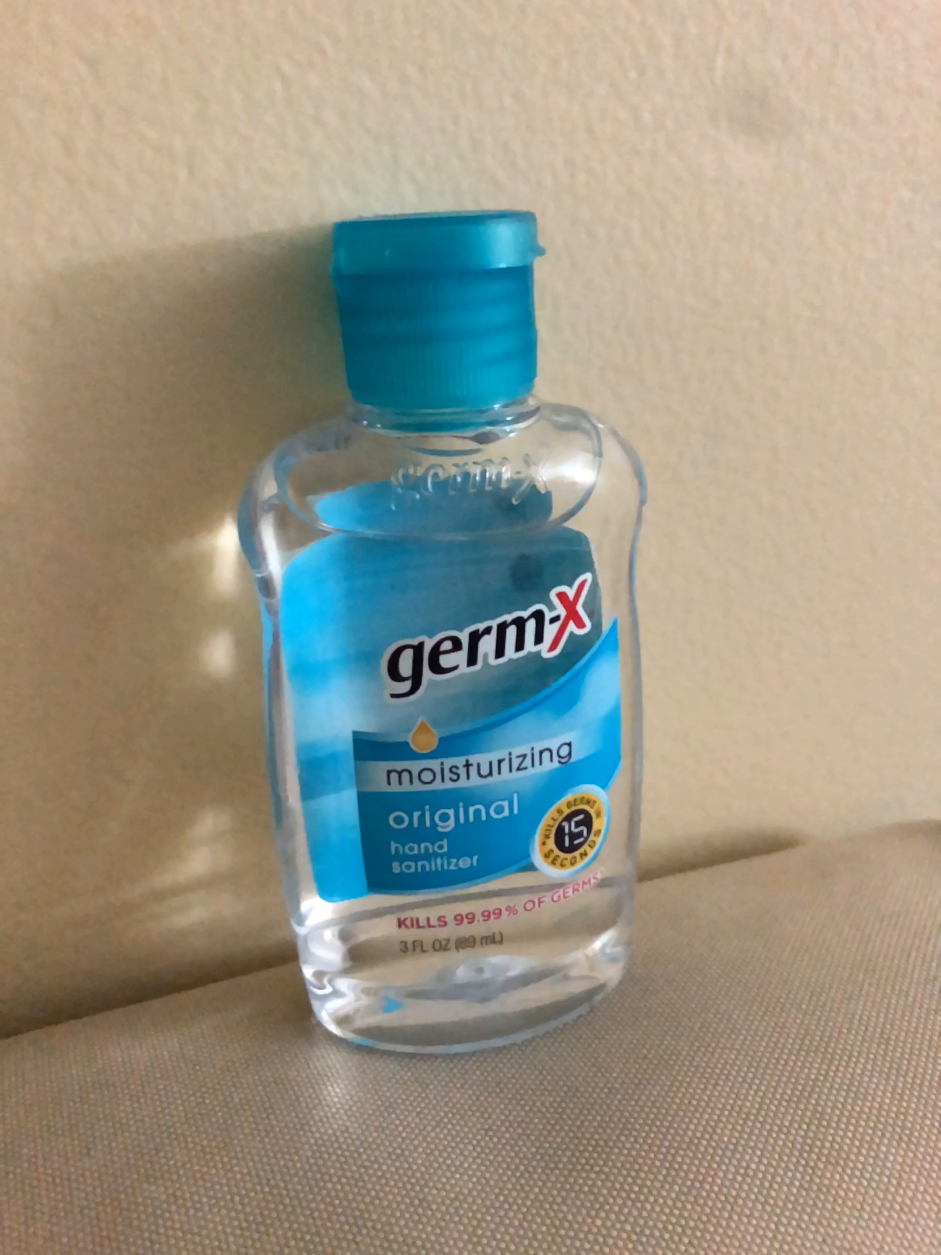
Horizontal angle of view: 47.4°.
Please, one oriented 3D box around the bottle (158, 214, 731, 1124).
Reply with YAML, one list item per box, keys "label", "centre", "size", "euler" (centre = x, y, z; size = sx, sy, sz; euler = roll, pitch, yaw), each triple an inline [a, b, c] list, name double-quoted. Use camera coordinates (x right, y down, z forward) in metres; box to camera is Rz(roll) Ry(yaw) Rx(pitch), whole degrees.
- label: "bottle"
  centre: [-0.003, 0.004, 0.143]
  size: [0.060, 0.110, 0.030]
  euler: [-8, 21, -19]
